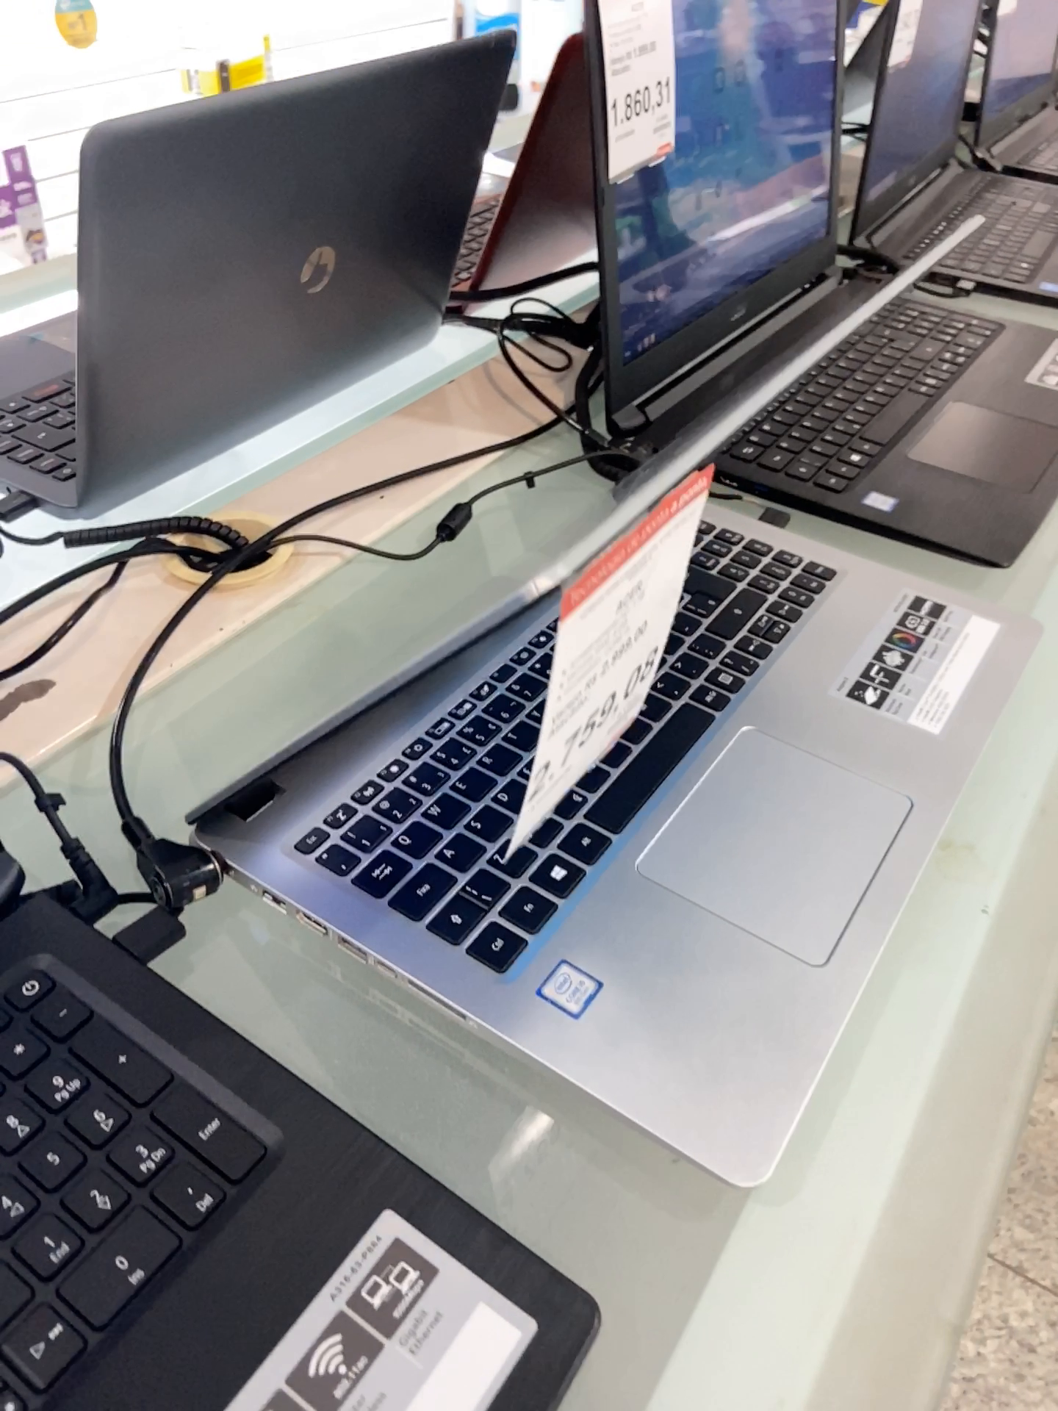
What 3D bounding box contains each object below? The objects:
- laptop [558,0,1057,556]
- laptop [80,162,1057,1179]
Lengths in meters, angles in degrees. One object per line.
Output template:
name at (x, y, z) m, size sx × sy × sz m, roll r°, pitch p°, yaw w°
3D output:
laptop at (0.247, -0.323, 0.698) m, size 0.288 × 0.238 × 0.356 m, roll 25°, pitch 45°, yaw 24°
laptop at (0.066, -0.065, 0.430) m, size 0.236 × 0.175 × 0.354 m, roll 24°, pitch 43°, yaw 23°
